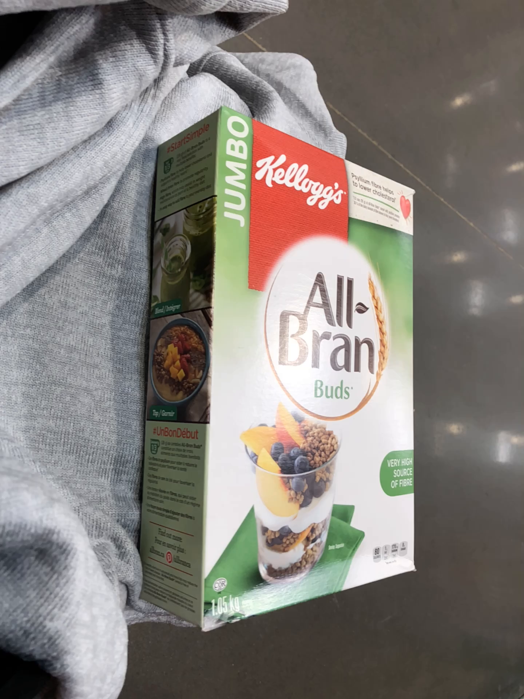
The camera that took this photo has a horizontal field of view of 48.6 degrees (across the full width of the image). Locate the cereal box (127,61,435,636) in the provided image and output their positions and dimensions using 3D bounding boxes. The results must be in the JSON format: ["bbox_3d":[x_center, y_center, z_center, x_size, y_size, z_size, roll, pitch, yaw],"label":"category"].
[{"bbox_3d":[0.025,0.003,0.390,0.201,0.070,0.300,7,81,-39],"label":"cereal box"}]
